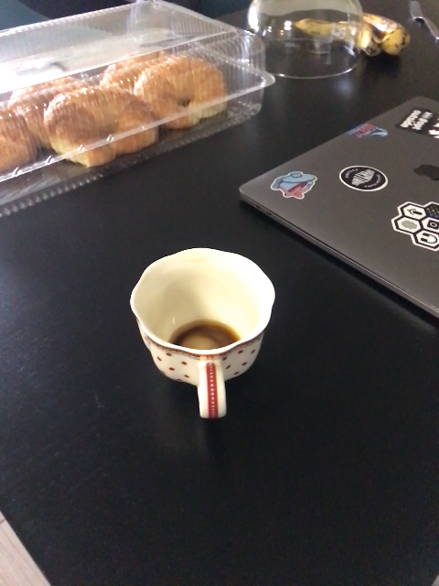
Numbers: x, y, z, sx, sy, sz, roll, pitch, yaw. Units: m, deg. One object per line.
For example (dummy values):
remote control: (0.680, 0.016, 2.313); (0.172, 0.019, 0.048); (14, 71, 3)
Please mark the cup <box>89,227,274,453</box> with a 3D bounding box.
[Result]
cup: (-0.015, 0.025, 0.307); (0.090, 0.069, 0.121); (5, 44, 4)
